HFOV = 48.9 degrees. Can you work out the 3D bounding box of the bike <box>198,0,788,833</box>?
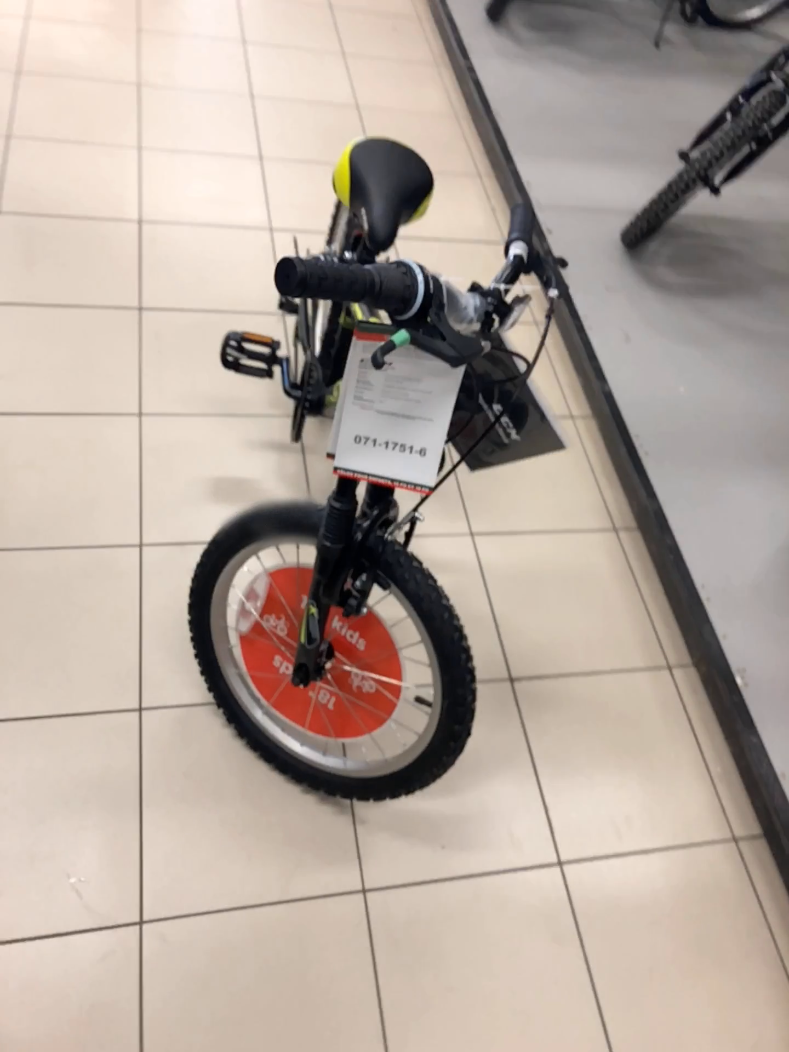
[{"bbox_3d":[0.003,-0.289,1.321,0.549,0.860,1.200,0,53,-14],"label":"bike"}]
